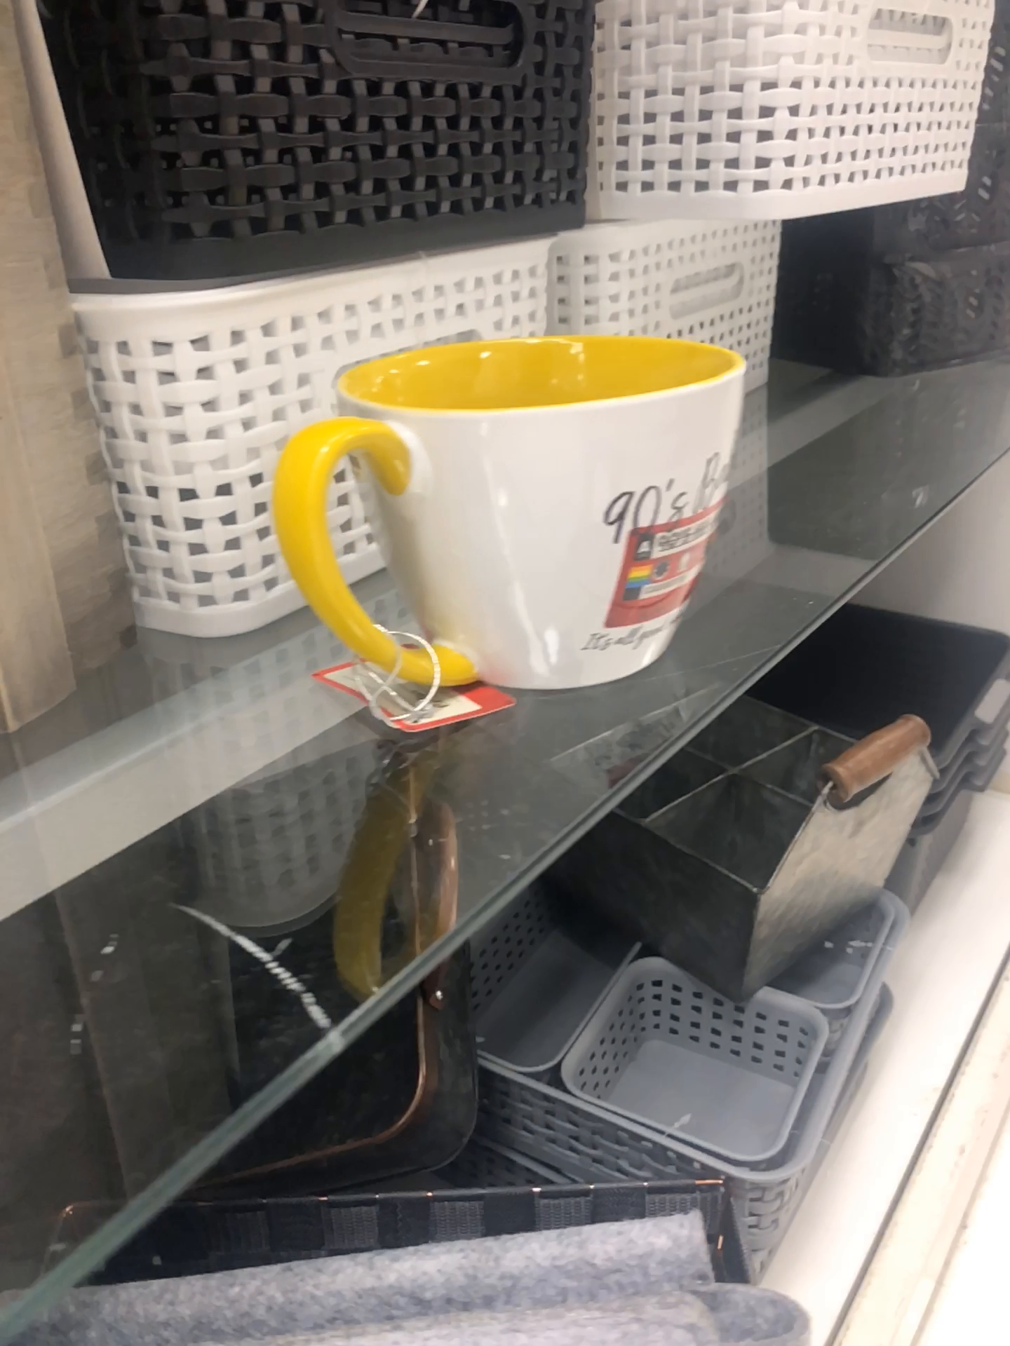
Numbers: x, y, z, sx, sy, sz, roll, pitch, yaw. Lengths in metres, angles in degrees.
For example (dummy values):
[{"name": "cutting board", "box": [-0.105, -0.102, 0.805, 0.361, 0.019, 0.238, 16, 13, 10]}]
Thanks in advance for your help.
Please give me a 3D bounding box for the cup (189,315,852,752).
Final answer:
[{"name": "cup", "box": [0.012, -0.058, 0.342, 0.126, 0.076, 0.157, 17, 29, 33]}]
